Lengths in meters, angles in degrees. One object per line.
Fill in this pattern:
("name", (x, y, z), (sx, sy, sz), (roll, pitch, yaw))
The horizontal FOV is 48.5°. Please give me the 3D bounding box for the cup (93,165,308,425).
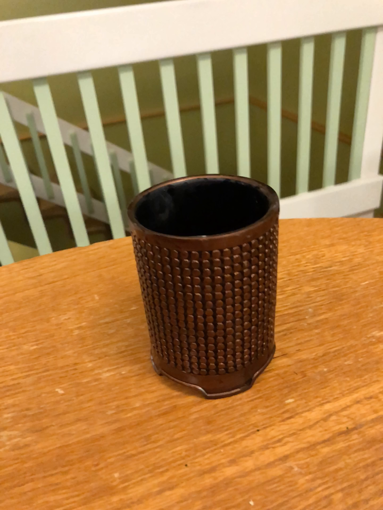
("cup", (0.006, 0.015, 0.233), (0.073, 0.097, 0.078), (-4, 31, 3))
